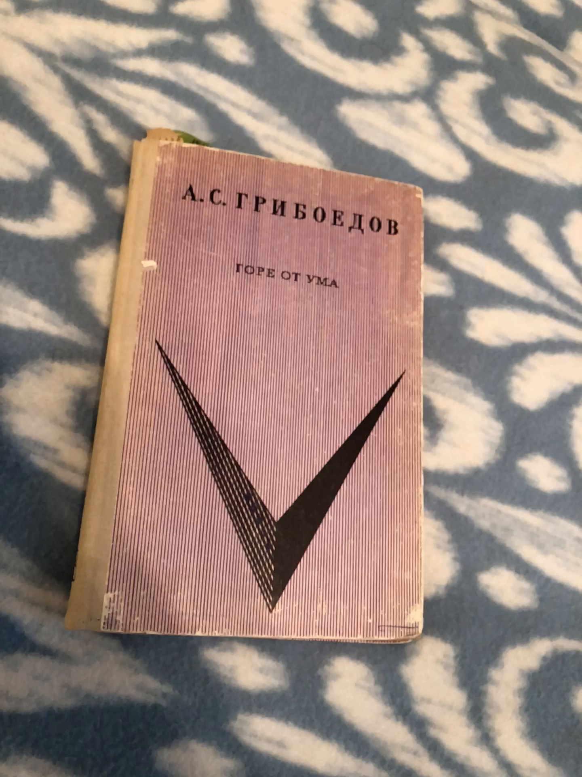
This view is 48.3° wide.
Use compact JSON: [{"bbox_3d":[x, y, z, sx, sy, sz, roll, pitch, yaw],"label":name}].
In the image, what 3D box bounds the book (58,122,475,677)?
[{"bbox_3d":[0.001,0.002,0.278,0.158,0.020,0.217,7,75,-11],"label":"book"}]
